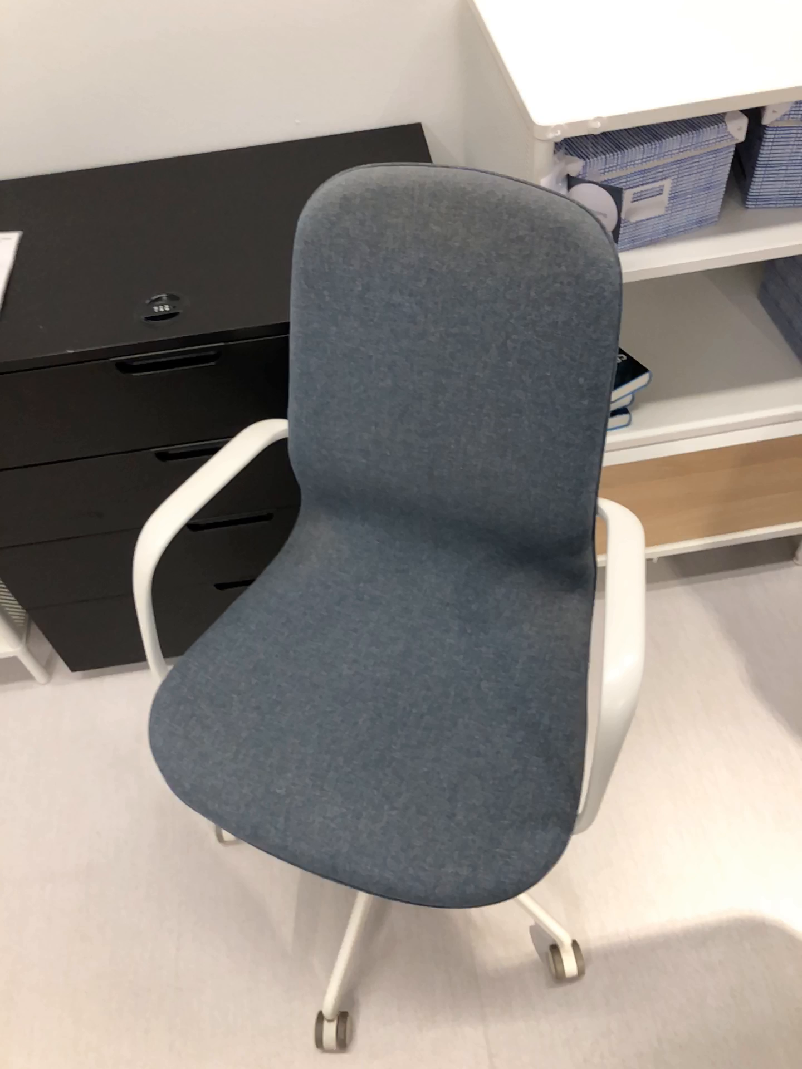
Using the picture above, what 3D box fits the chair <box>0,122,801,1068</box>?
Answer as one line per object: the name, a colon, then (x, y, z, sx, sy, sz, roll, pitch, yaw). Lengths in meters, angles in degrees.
chair: (-0.040, 0.187, 1.080, 0.701, 0.994, 0.703, 12, 55, 15)
